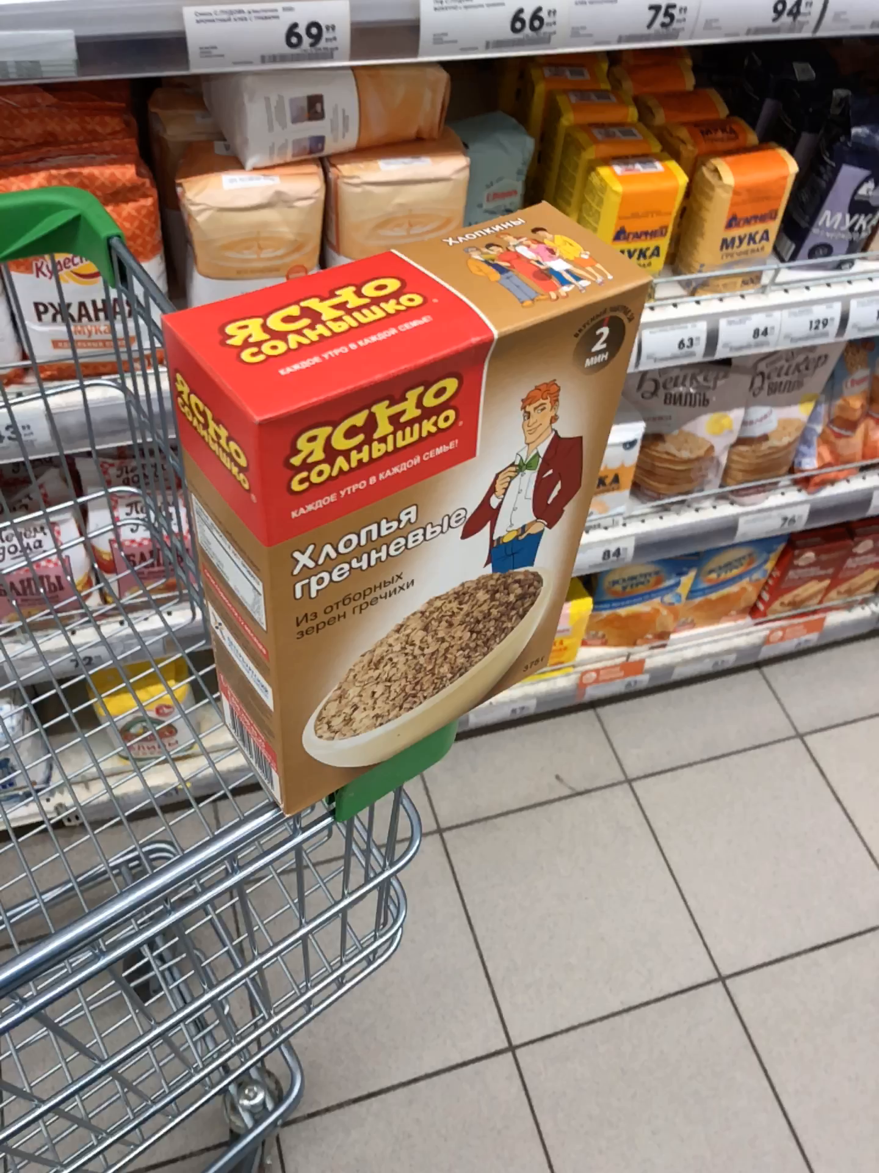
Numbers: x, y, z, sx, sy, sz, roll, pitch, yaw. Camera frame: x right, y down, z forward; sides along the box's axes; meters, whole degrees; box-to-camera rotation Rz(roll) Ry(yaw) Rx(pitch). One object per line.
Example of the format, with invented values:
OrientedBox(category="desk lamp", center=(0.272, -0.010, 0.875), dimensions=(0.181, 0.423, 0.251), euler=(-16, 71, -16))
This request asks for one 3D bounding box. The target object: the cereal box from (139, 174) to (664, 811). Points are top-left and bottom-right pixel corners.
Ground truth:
OrientedBox(category="cereal box", center=(-0.014, -0.023, 0.333), dimensions=(0.130, 0.189, 0.060), euler=(-26, 57, -25))
